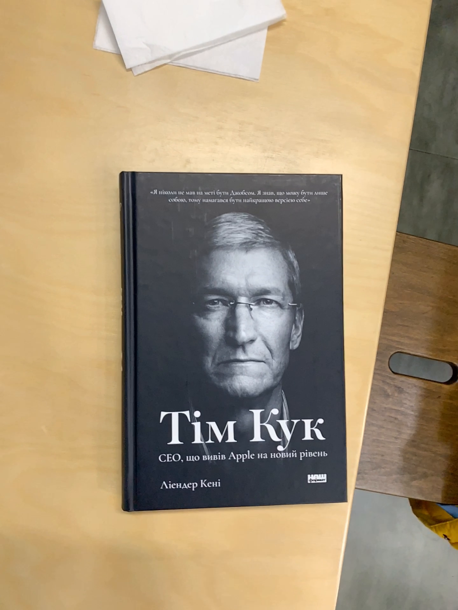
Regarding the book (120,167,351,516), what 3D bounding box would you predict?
[{"bbox_3d":[0.003,0.021,0.315,0.144,0.034,0.217,0,88,-4],"label":"book"}]
